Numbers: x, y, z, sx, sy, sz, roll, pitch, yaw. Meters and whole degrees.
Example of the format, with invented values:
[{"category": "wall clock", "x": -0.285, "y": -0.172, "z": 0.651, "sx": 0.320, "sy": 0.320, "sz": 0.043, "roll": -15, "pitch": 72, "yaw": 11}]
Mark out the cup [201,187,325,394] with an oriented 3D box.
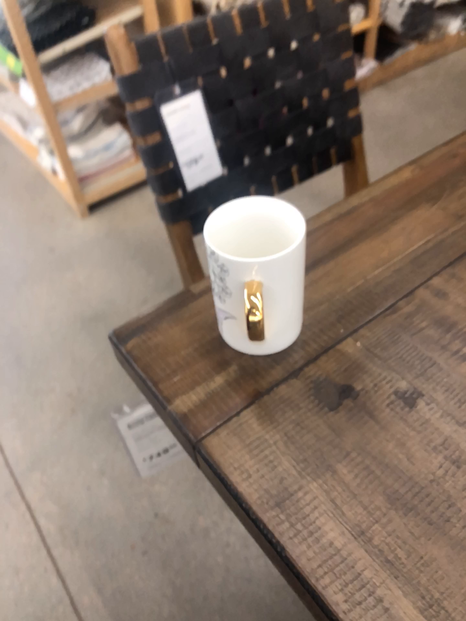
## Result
[{"category": "cup", "x": 0.023, "y": -0.017, "z": 0.428, "sx": 0.082, "sy": 0.111, "sz": 0.122, "roll": -4, "pitch": 46, "yaw": 3}]
